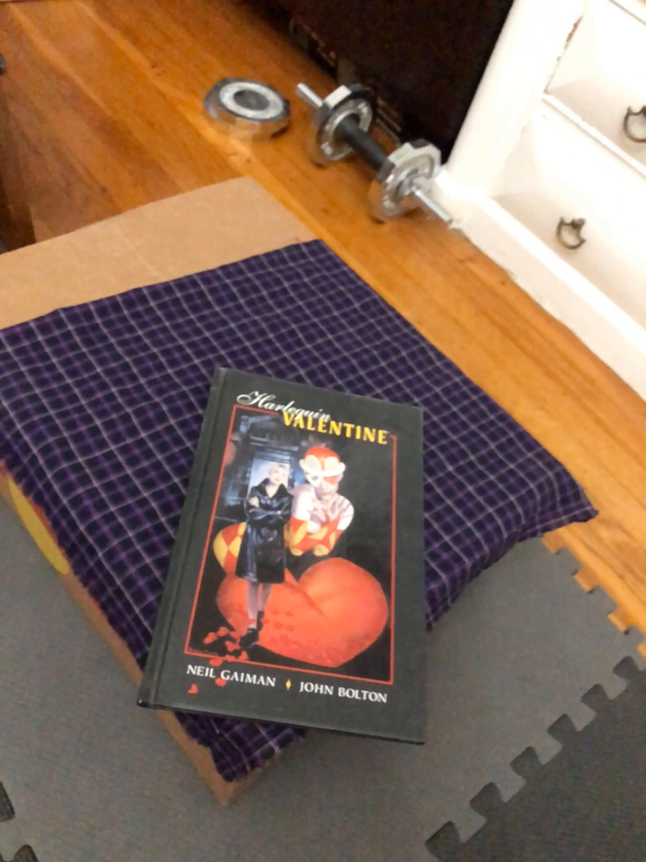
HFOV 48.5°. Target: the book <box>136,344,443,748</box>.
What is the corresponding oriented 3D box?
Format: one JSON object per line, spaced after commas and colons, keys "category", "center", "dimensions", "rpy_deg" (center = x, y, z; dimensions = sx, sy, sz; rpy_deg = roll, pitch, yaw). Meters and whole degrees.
{"category": "book", "center": [-0.011, 0.063, 0.507], "dimensions": [0.180, 0.020, 0.281], "rpy_deg": [11, 51, -8]}
